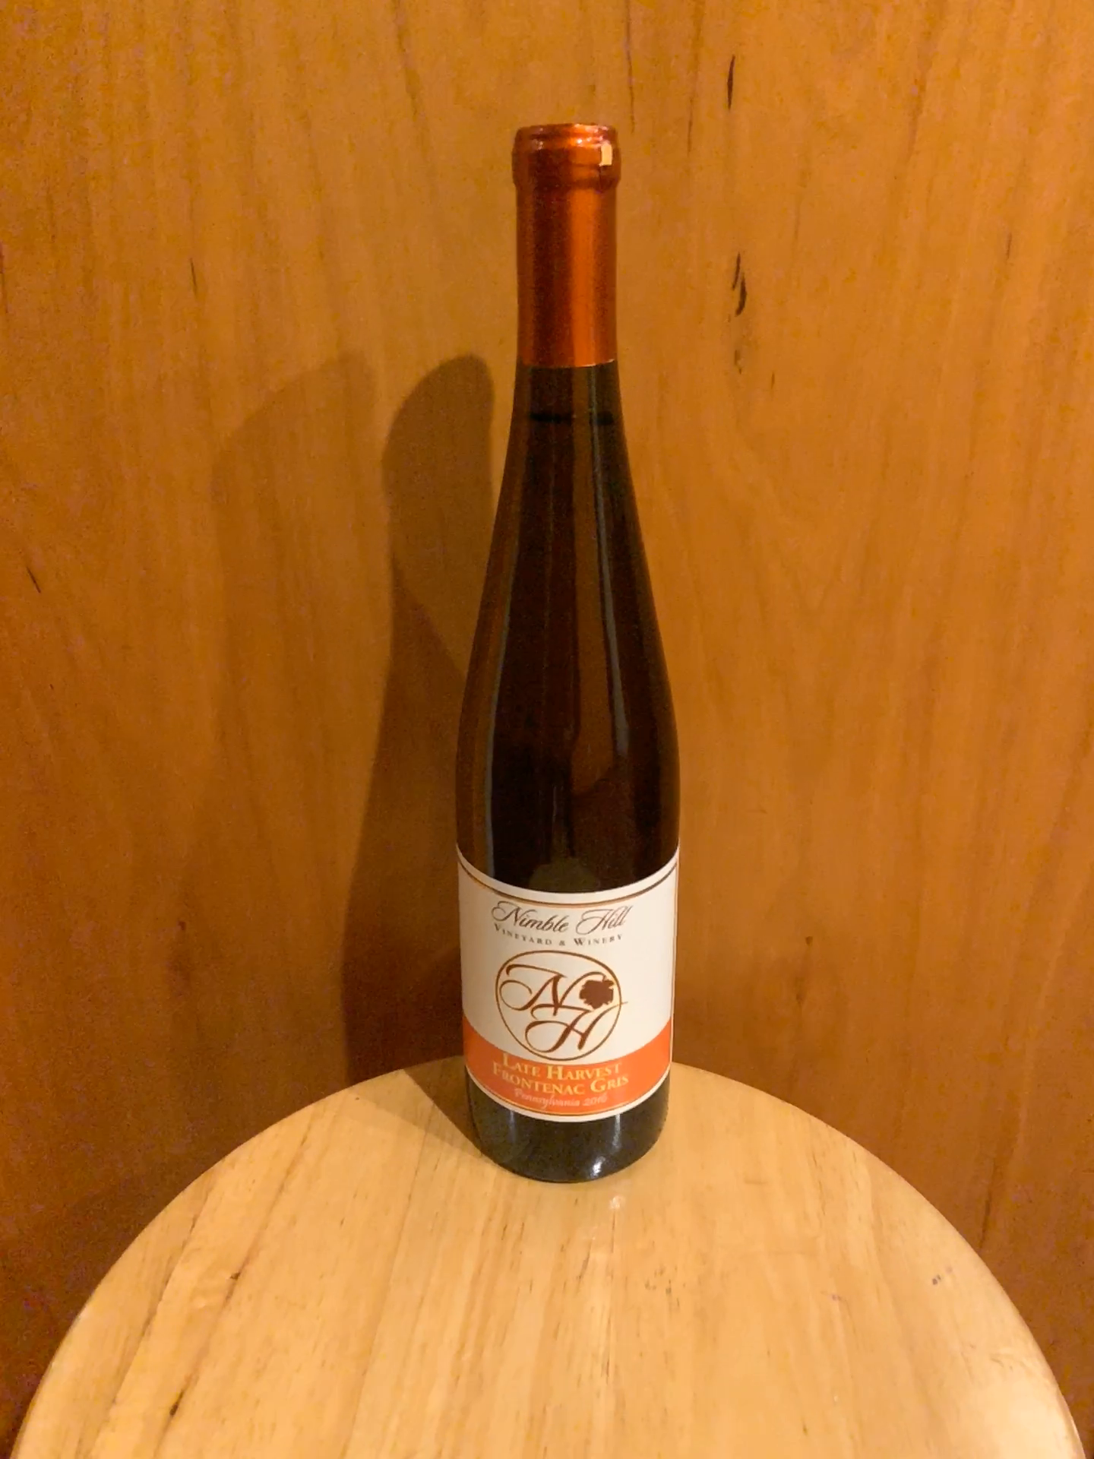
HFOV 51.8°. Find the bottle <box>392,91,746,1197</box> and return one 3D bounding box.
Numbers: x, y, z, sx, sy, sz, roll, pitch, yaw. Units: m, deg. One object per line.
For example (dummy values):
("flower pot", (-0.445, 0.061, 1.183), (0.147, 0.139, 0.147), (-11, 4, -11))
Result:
("bottle", (0.007, -0.005, 0.347), (0.080, 0.328, 0.060), (1, 23, 4))
